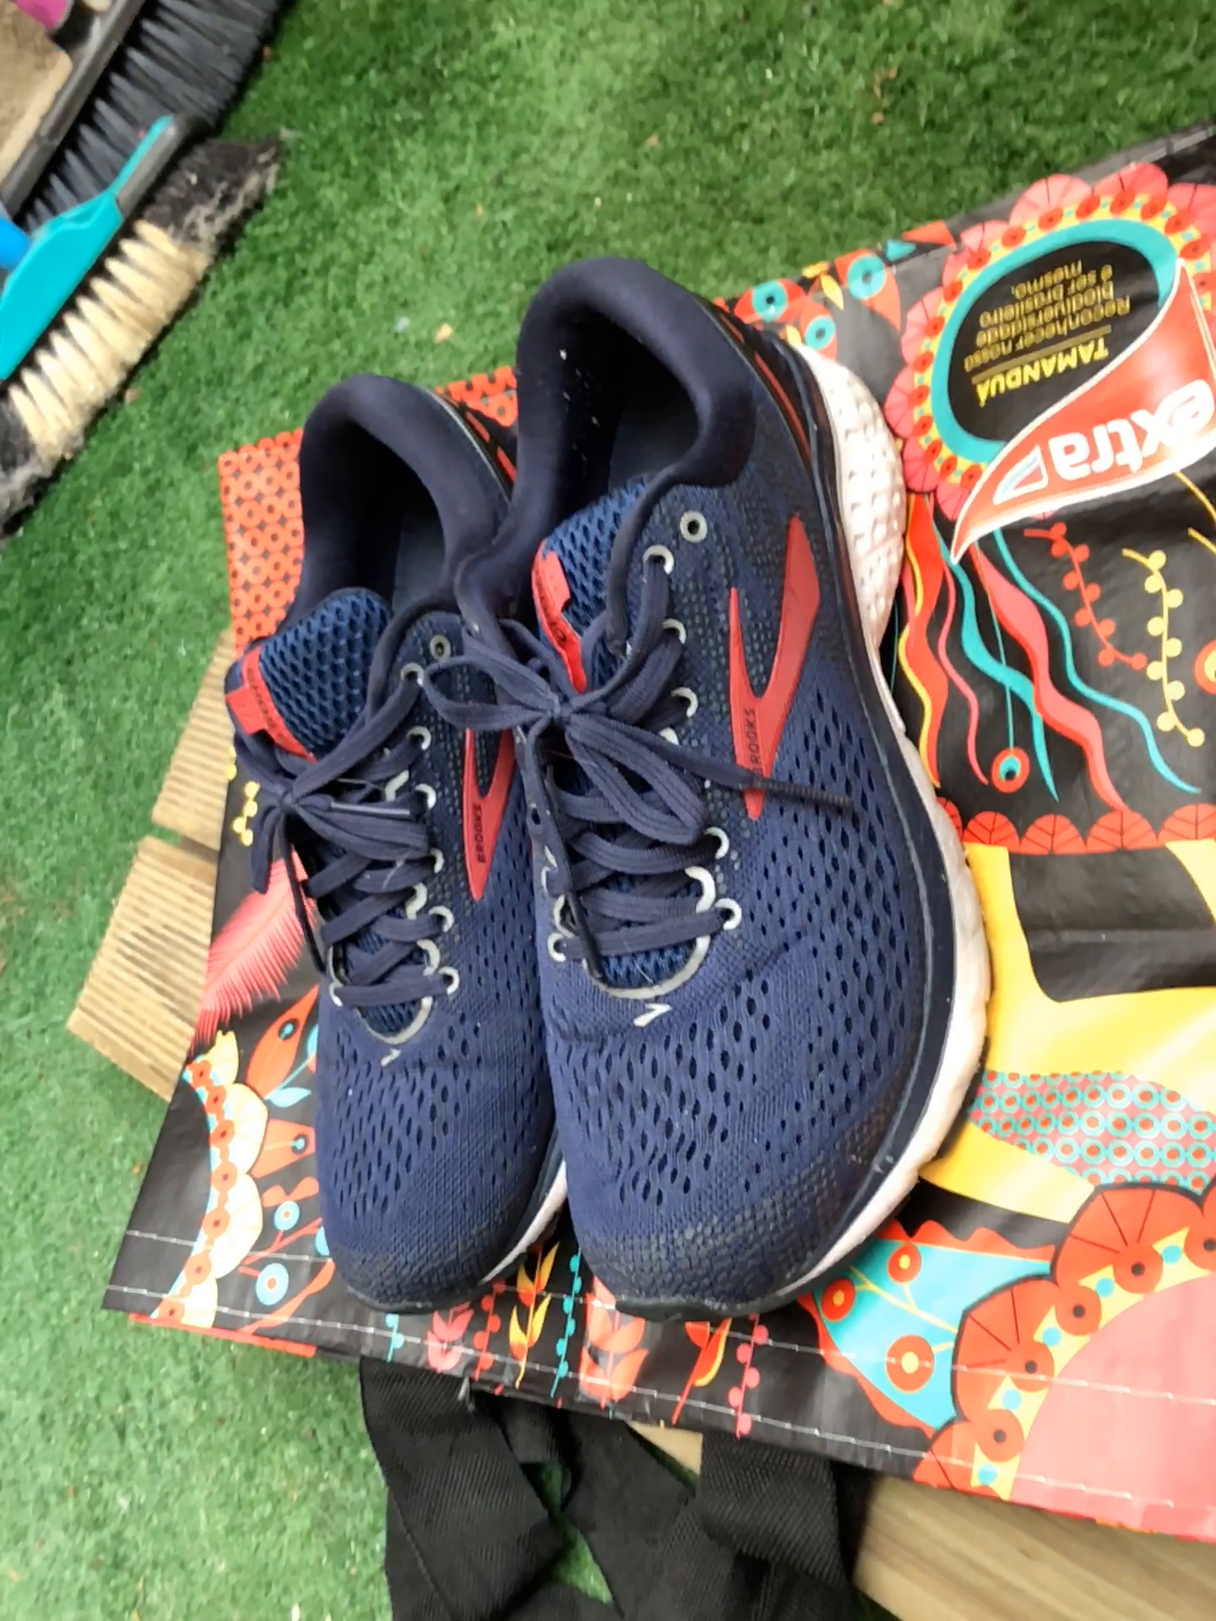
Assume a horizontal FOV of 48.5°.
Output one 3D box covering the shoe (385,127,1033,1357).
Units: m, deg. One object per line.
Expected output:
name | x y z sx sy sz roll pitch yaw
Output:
shoe | 0.026 -0.011 0.335 0.100 0.099 0.265 -14 65 37

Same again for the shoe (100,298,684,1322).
shoe | -0.054 0.006 0.399 0.108 0.099 0.265 -12 66 38
